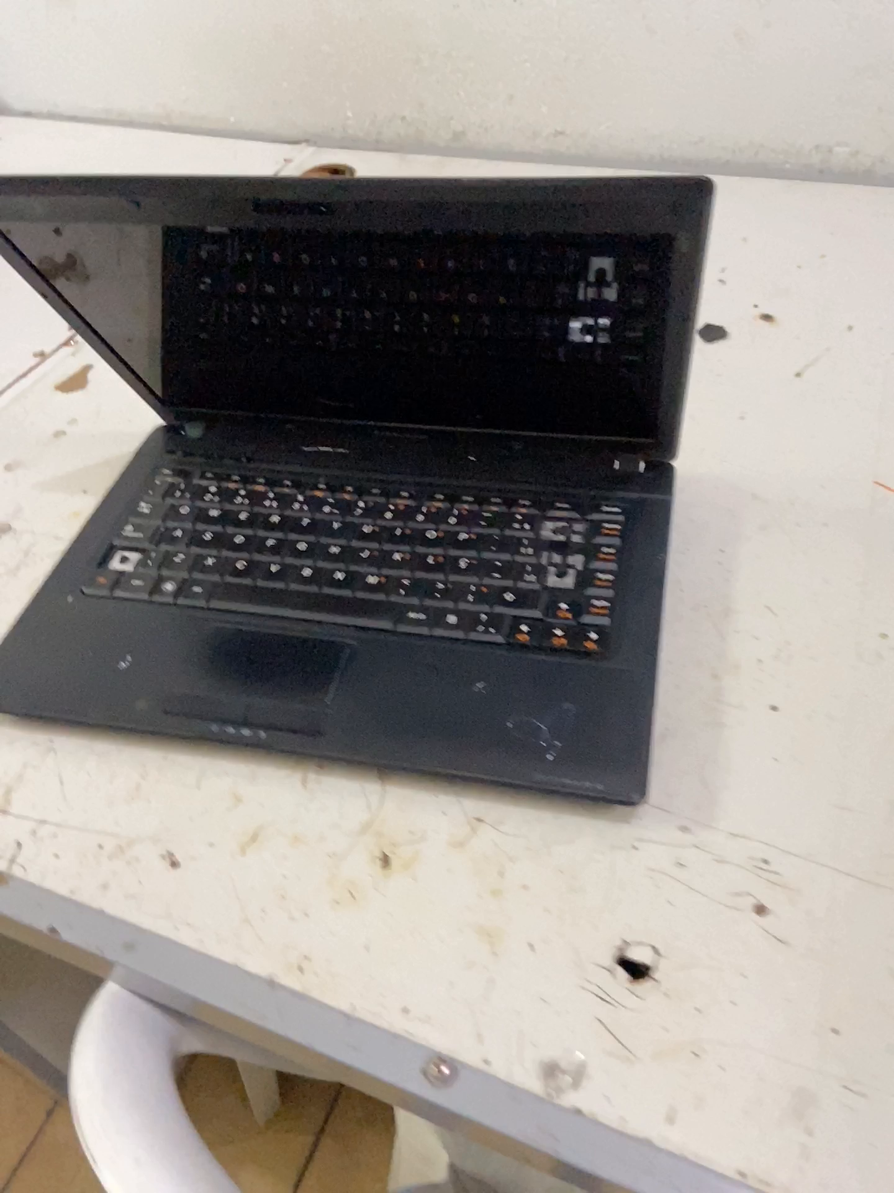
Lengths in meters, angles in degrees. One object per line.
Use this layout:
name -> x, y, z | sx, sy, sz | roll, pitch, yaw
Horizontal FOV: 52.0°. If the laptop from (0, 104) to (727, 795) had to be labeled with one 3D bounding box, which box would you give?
laptop -> -0.059, -0.081, 0.428 | 0.333, 0.194, 0.224 | 6, 48, 12
